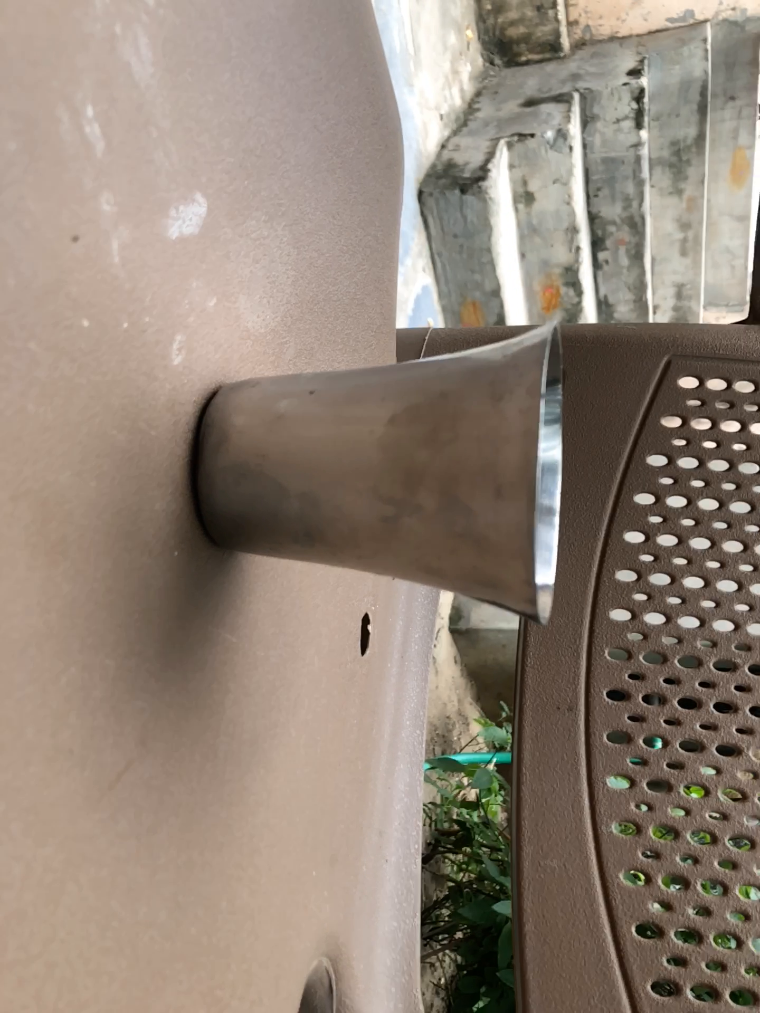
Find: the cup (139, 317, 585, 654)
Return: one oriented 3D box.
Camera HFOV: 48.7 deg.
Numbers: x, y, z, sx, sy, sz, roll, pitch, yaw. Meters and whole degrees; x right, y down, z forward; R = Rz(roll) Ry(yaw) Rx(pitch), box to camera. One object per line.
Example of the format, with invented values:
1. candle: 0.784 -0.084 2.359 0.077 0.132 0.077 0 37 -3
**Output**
1. cup: 0.003 -0.009 0.242 0.080 0.099 0.070 -49 134 -64
